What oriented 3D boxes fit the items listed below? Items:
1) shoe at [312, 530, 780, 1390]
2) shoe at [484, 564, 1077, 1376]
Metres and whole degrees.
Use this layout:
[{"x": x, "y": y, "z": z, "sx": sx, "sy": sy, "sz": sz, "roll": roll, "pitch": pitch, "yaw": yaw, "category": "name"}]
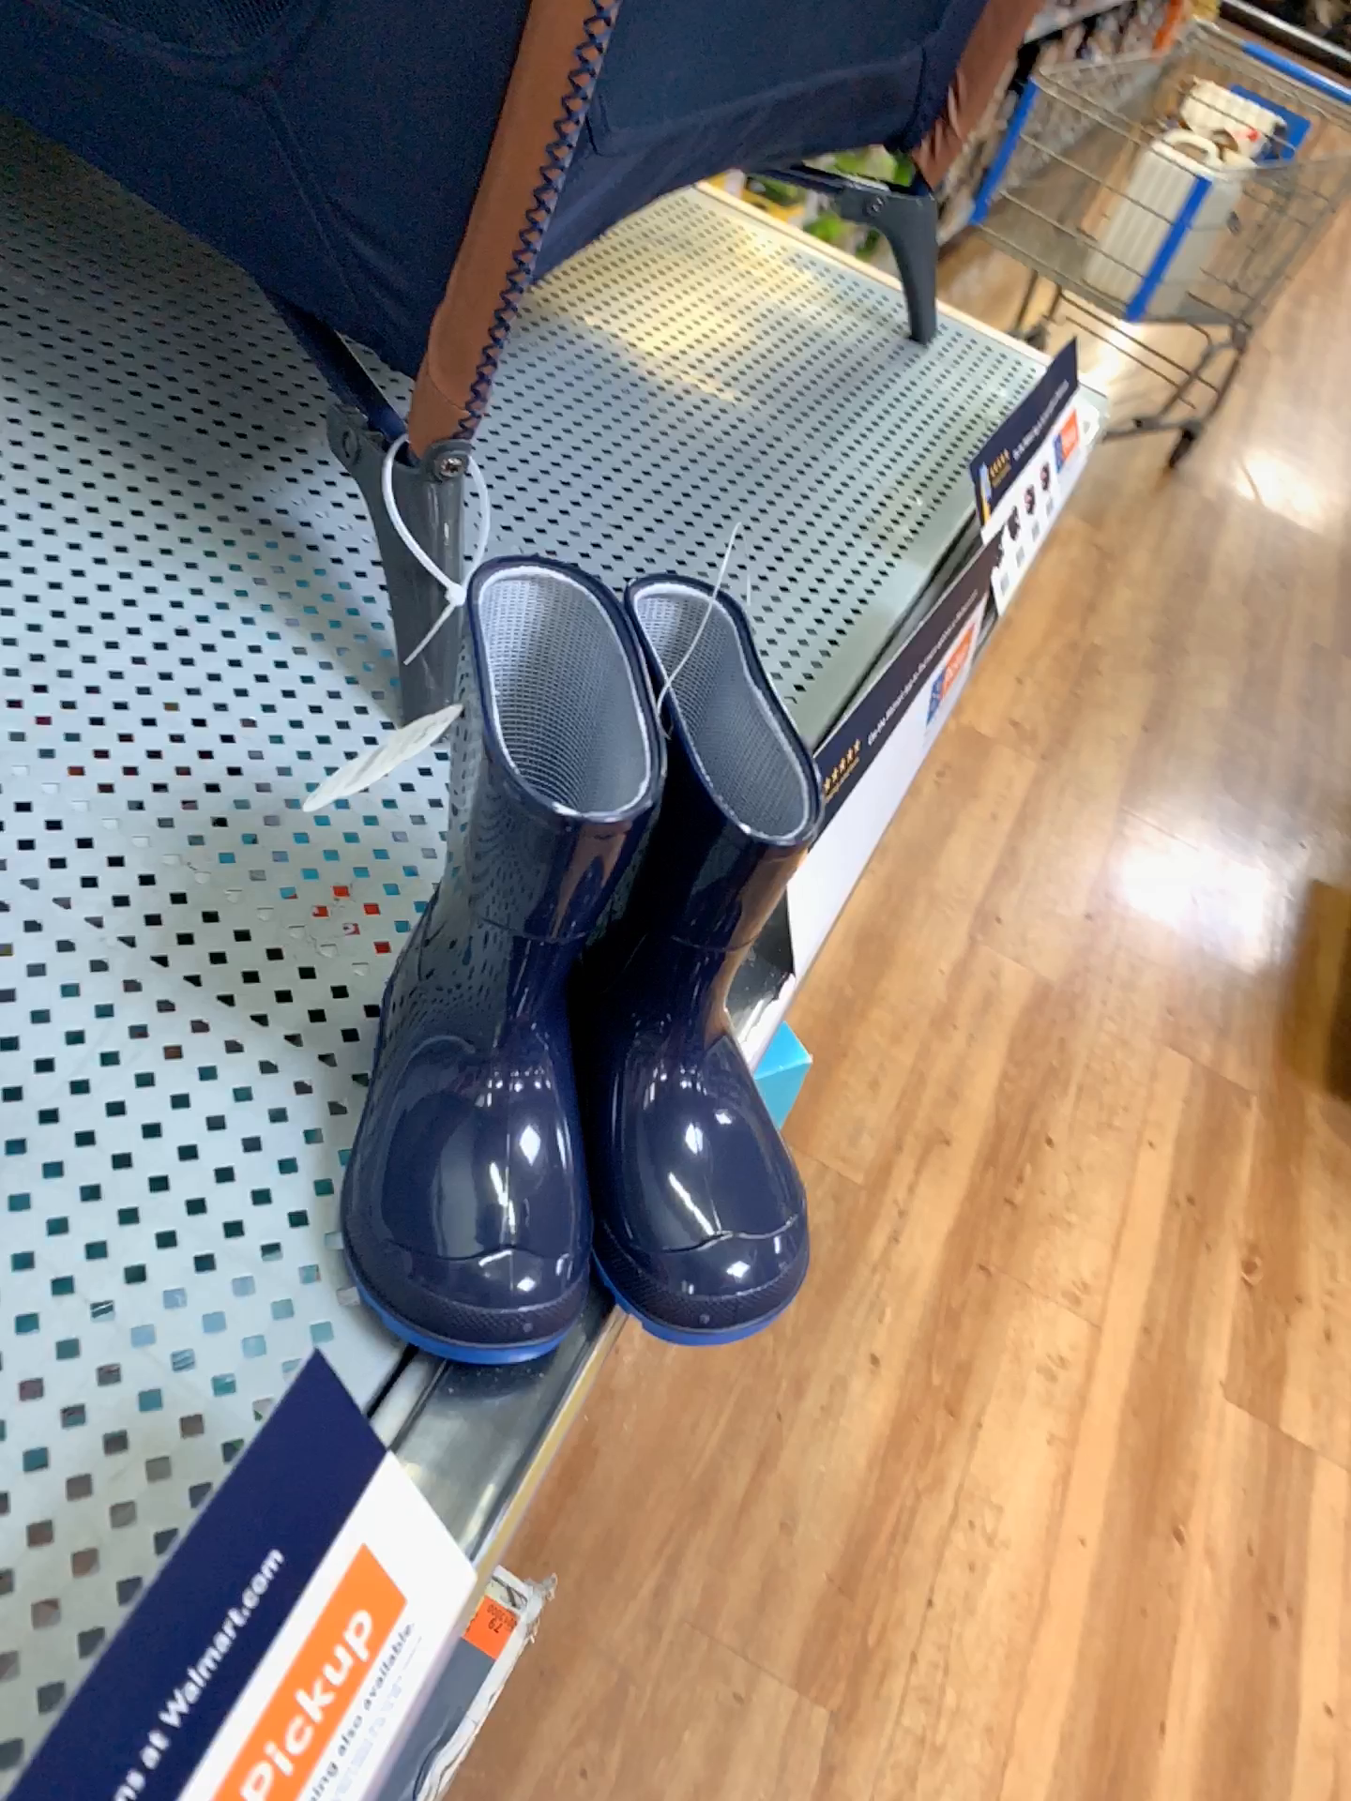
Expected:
[{"x": -0.051, "y": 0.014, "z": 0.375, "sx": 0.074, "sy": 0.143, "sz": 0.174, "roll": 1, "pitch": 47, "yaw": -20, "category": "shoe"}, {"x": 0.011, "y": 0.016, "z": 0.398, "sx": 0.076, "sy": 0.143, "sz": 0.174, "roll": -3, "pitch": 48, "yaw": -23, "category": "shoe"}]
